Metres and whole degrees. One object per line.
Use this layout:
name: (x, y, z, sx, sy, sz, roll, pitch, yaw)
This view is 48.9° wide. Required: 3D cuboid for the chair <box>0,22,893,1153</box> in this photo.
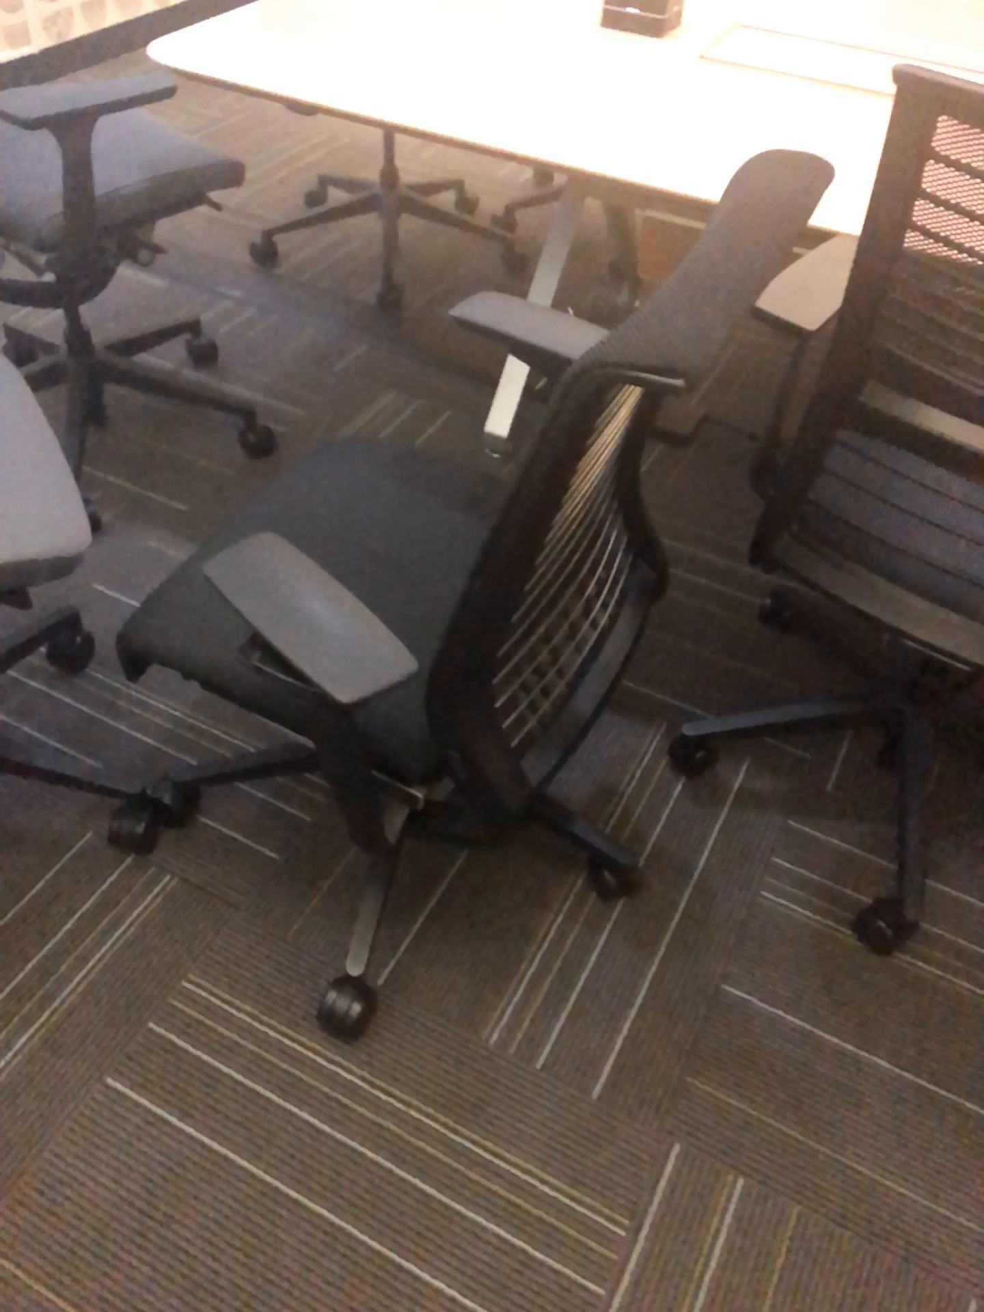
chair: (-0.083, -0.099, 1.336, 0.730, 0.992, 0.726, 20, 45, 18)
